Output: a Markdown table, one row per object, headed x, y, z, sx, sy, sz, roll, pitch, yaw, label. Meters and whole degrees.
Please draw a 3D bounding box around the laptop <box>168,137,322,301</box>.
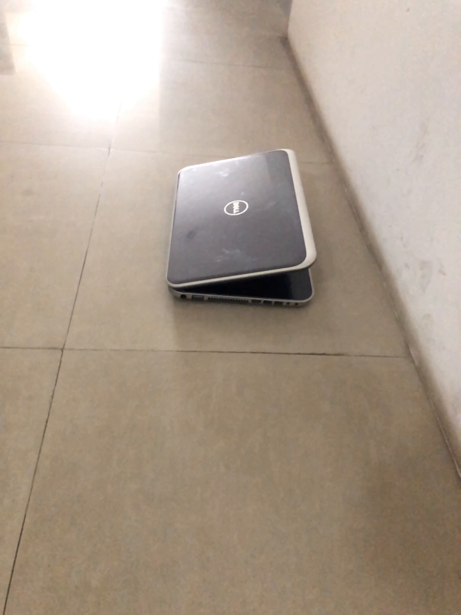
| x | y | z | sx | sy | sz | roll | pitch | yaw | label |
| --- | --- | --- | --- | --- | --- | --- | --- | --- | --- |
| 0.017 | -0.176 | 0.922 | 0.234 | 0.079 | 0.362 | 2 | 47 | -3 | laptop |
